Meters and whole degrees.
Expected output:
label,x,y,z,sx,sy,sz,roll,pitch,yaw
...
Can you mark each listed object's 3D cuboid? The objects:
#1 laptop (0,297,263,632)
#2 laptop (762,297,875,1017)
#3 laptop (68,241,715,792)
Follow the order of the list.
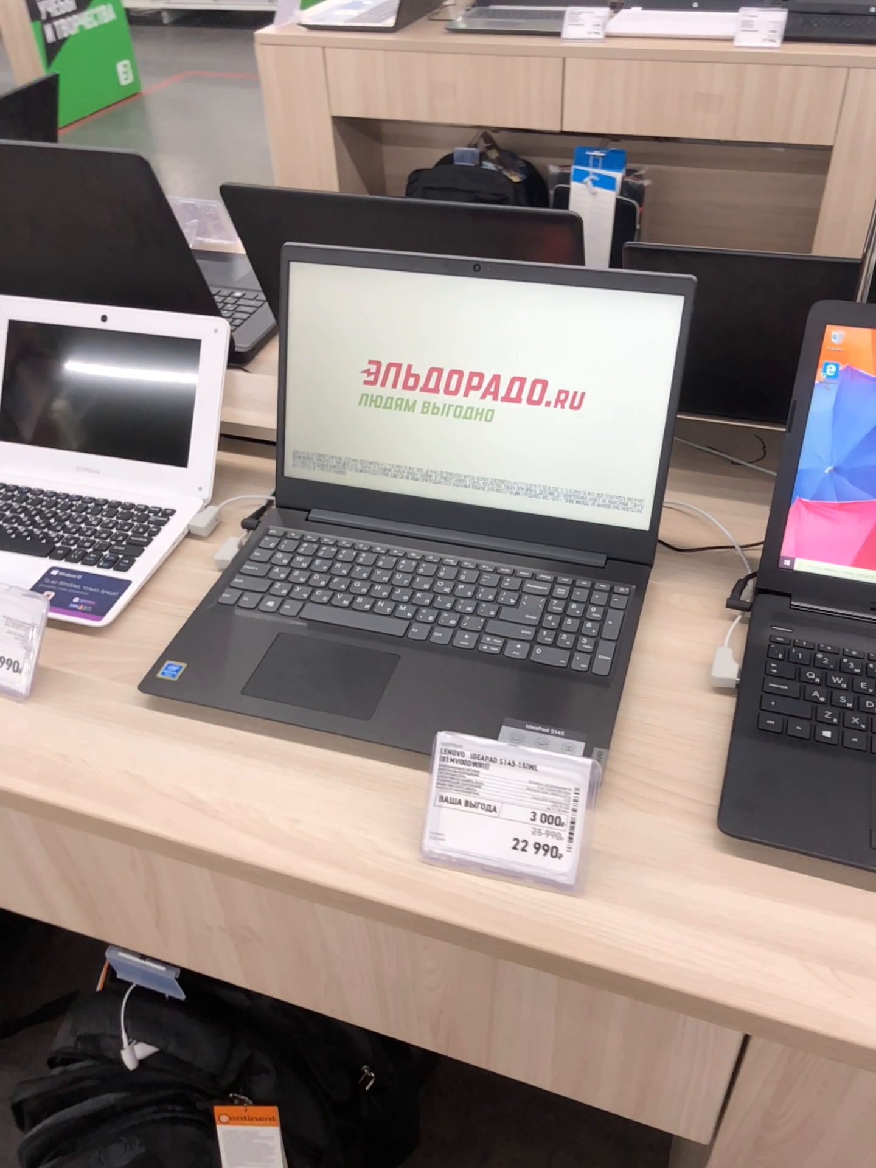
label,x,y,z,sx,sy,sz,roll,pitch,yaw
laptop,-0.361,-0.127,0.888,0.279,0.139,0.290,9,42,15
laptop,0.425,0.005,0.591,0.374,0.206,0.322,11,42,17
laptop,-0.001,-0.081,0.739,0.354,0.212,0.342,10,42,15
